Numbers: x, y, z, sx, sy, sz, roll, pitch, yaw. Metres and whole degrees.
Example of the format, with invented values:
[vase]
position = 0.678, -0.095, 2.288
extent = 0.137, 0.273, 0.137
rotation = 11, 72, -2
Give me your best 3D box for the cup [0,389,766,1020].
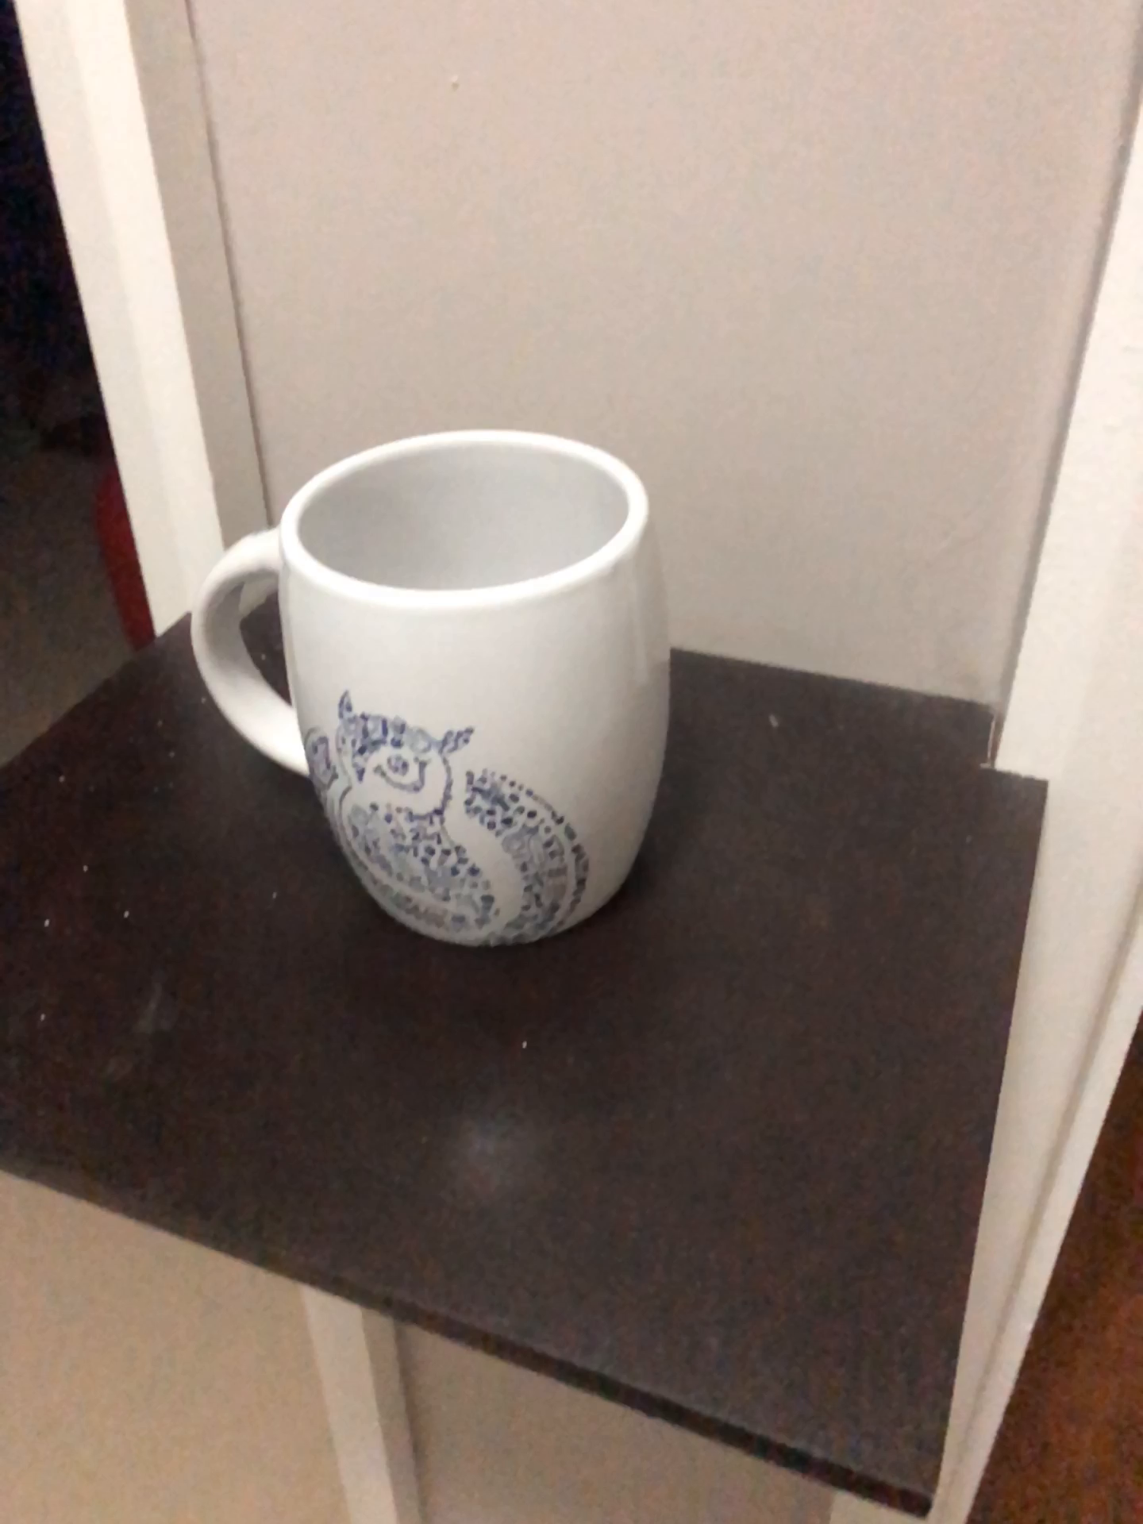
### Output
[cup]
position = -0.036, -0.022, 0.291
extent = 0.130, 0.079, 0.101
rotation = 13, 38, 19
